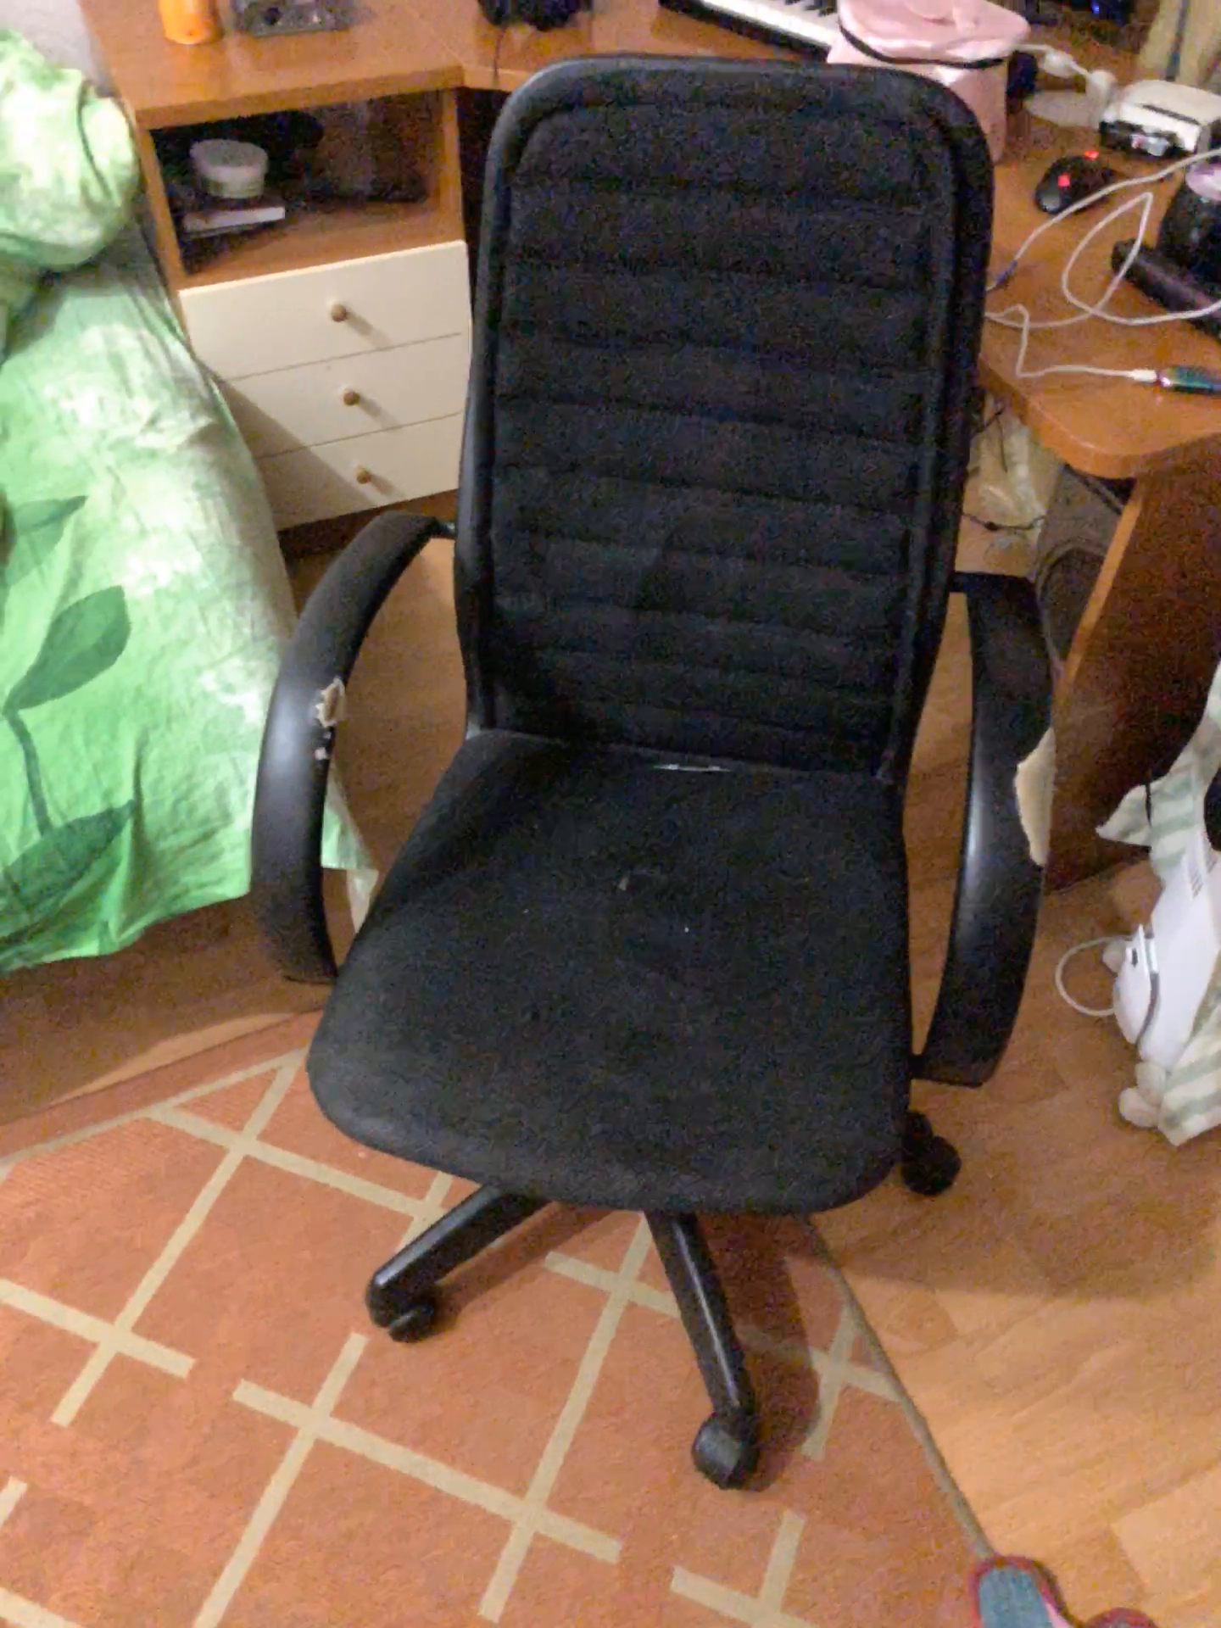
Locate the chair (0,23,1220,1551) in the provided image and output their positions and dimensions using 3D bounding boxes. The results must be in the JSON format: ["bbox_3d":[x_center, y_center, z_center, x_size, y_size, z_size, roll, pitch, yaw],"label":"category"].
[{"bbox_3d":[0.057,0.038,1.037,0.670,0.992,0.726,7,48,5],"label":"chair"}]
